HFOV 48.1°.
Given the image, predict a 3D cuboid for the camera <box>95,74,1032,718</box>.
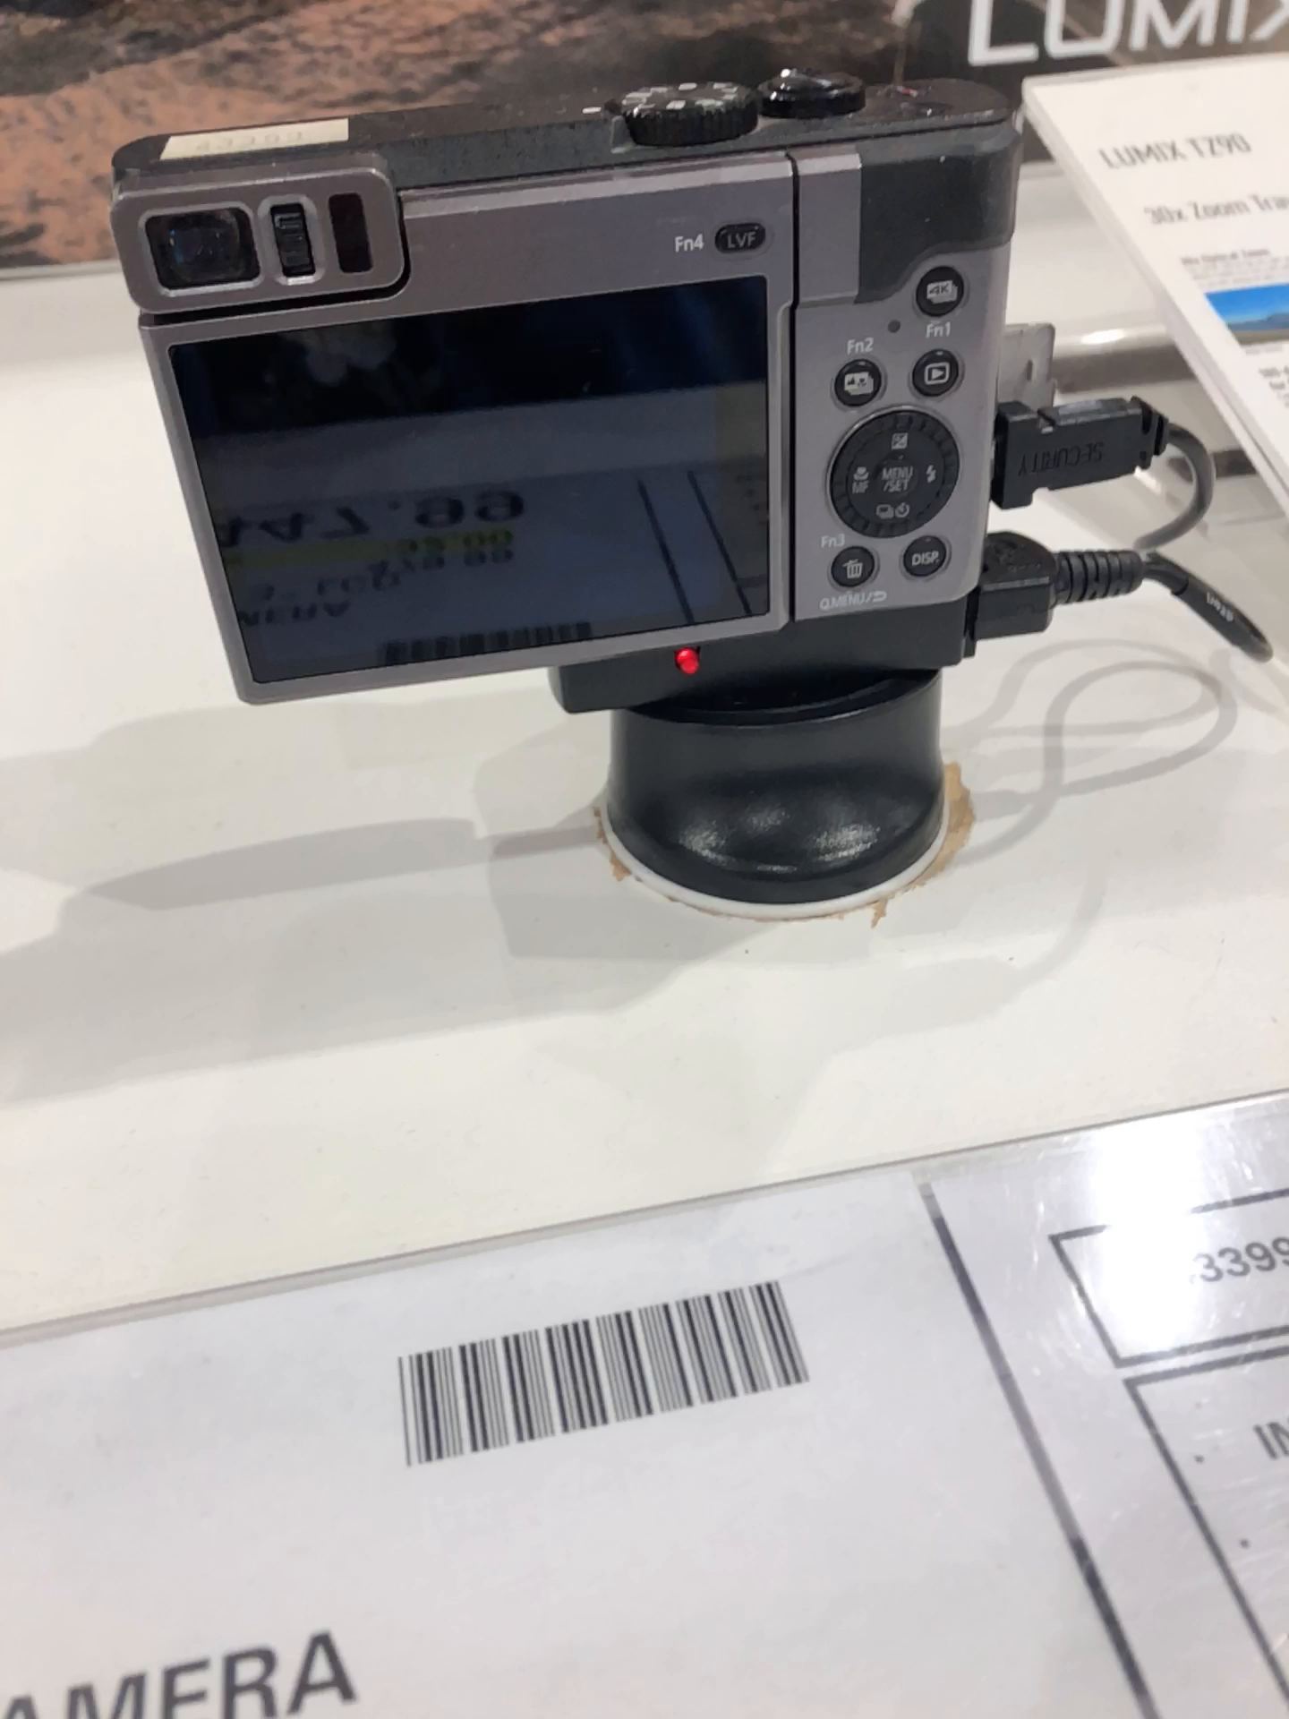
[{"bbox_3d":[-0.008,-0.062,0.194,0.107,0.065,0.030,-8,37,-6],"label":"camera"}]
